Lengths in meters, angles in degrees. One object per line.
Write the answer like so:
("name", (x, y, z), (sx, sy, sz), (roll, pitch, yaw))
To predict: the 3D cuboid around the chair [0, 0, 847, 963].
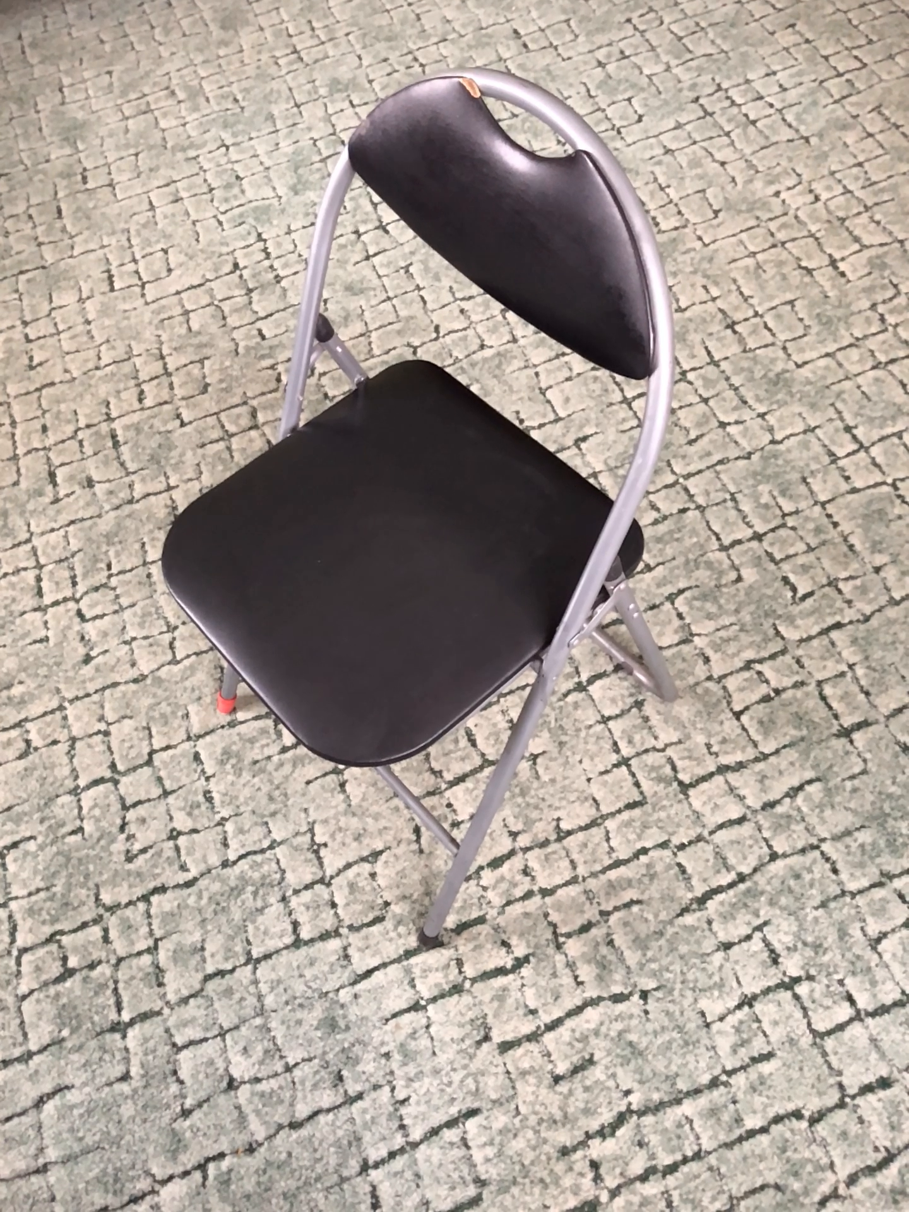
("chair", (-0.035, -0.057, 1.010), (0.475, 0.733, 0.457), (-39, 63, -17))
